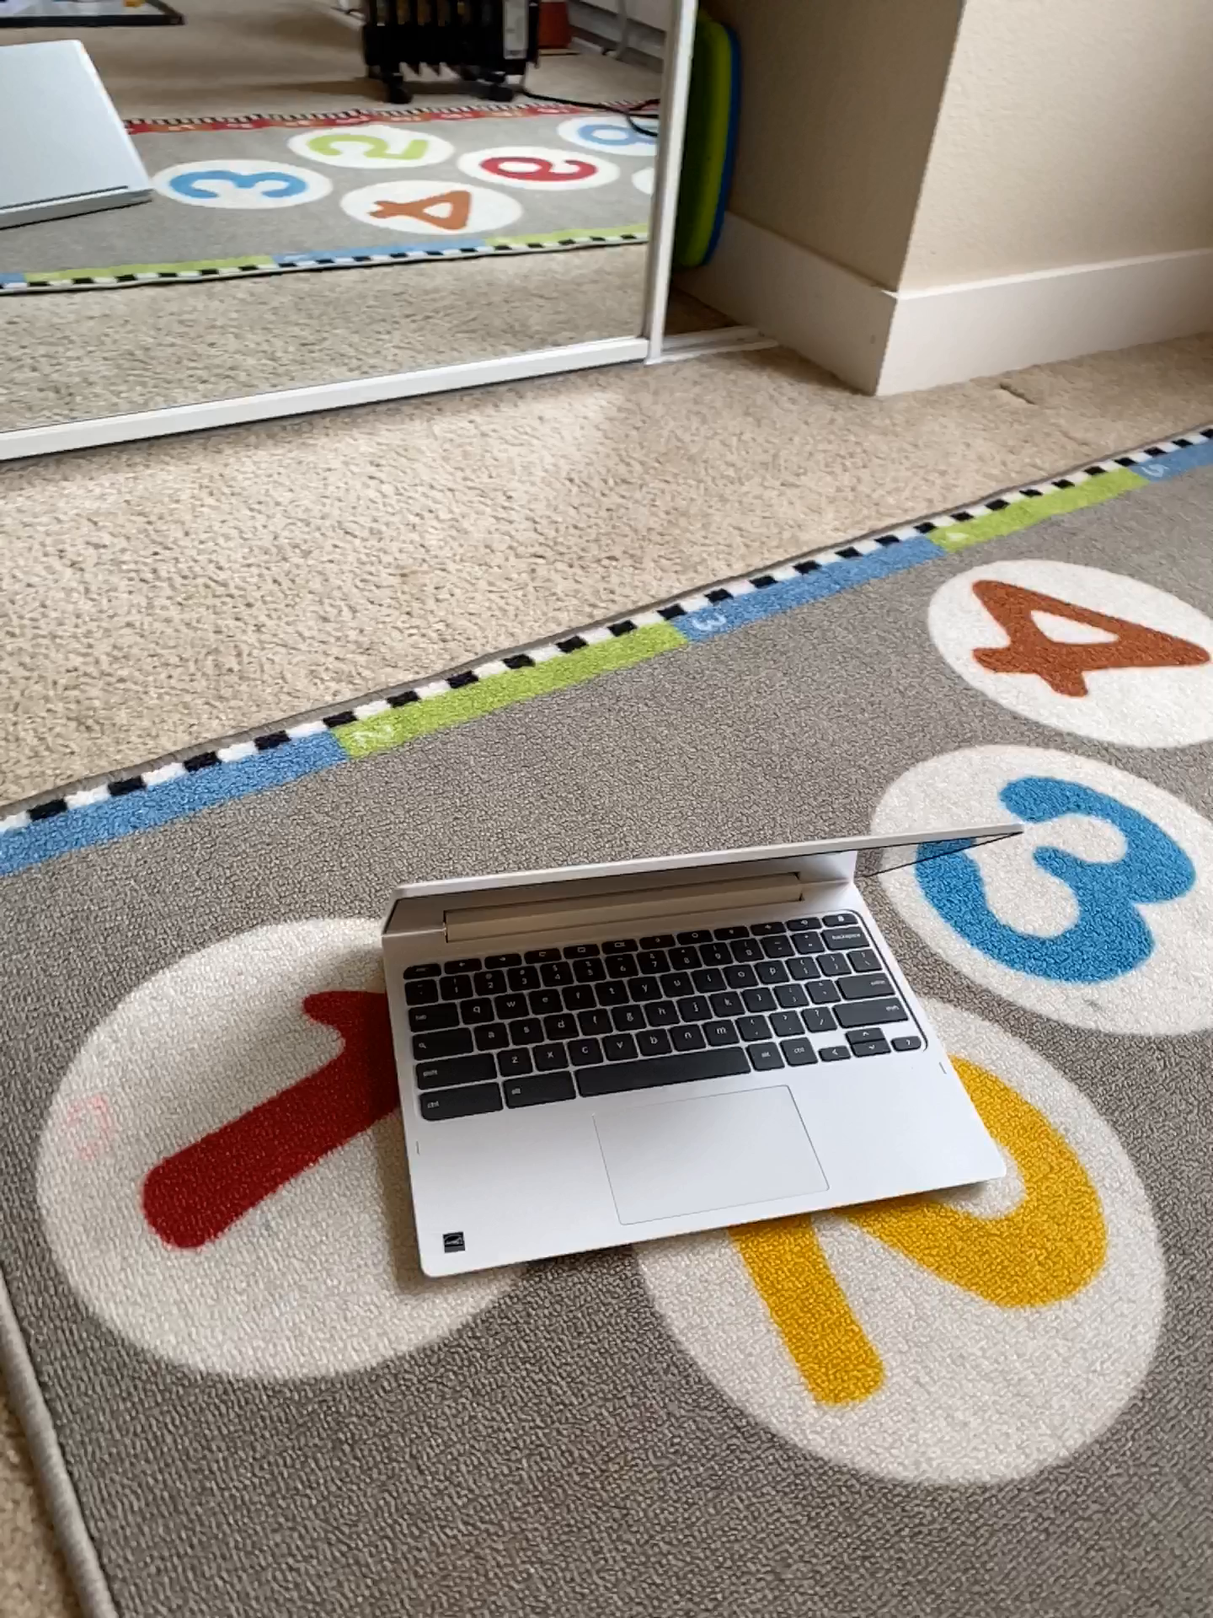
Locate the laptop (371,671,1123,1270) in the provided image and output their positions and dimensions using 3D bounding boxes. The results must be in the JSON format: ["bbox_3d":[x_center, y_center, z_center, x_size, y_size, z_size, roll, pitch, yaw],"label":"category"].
[{"bbox_3d":[0.044,0.067,0.625,0.298,0.162,0.217,-5,41,-13],"label":"laptop"}]
